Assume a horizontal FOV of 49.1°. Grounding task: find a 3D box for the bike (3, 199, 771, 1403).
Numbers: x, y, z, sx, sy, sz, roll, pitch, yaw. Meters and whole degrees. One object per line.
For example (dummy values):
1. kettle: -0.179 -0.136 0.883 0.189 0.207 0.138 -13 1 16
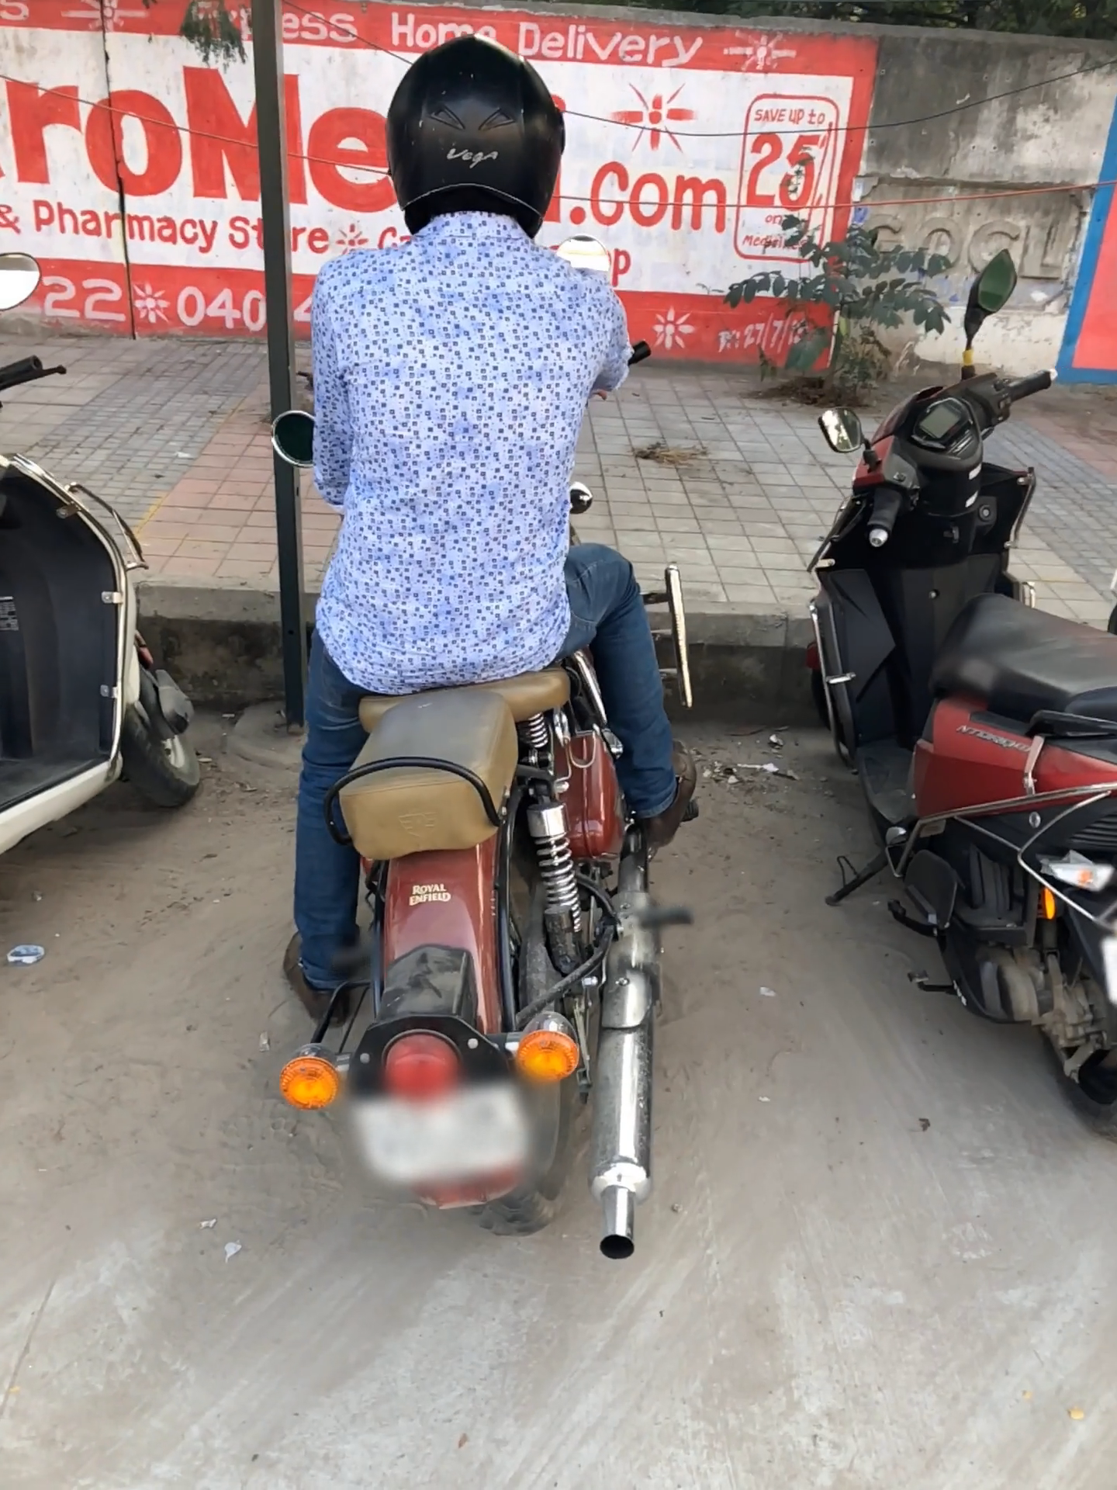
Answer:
1. bike: -0.208 -0.078 2.169 0.792 1.255 1.559 3 32 -1
